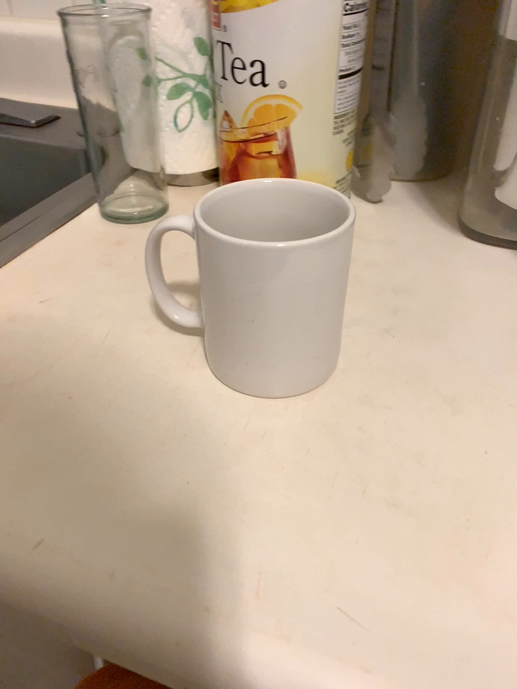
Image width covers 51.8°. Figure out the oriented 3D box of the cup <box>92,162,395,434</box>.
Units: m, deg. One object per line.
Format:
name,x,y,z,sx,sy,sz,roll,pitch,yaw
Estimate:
cup,-0.002,-0.031,0.312,0.140,0.109,0.090,9,39,10
